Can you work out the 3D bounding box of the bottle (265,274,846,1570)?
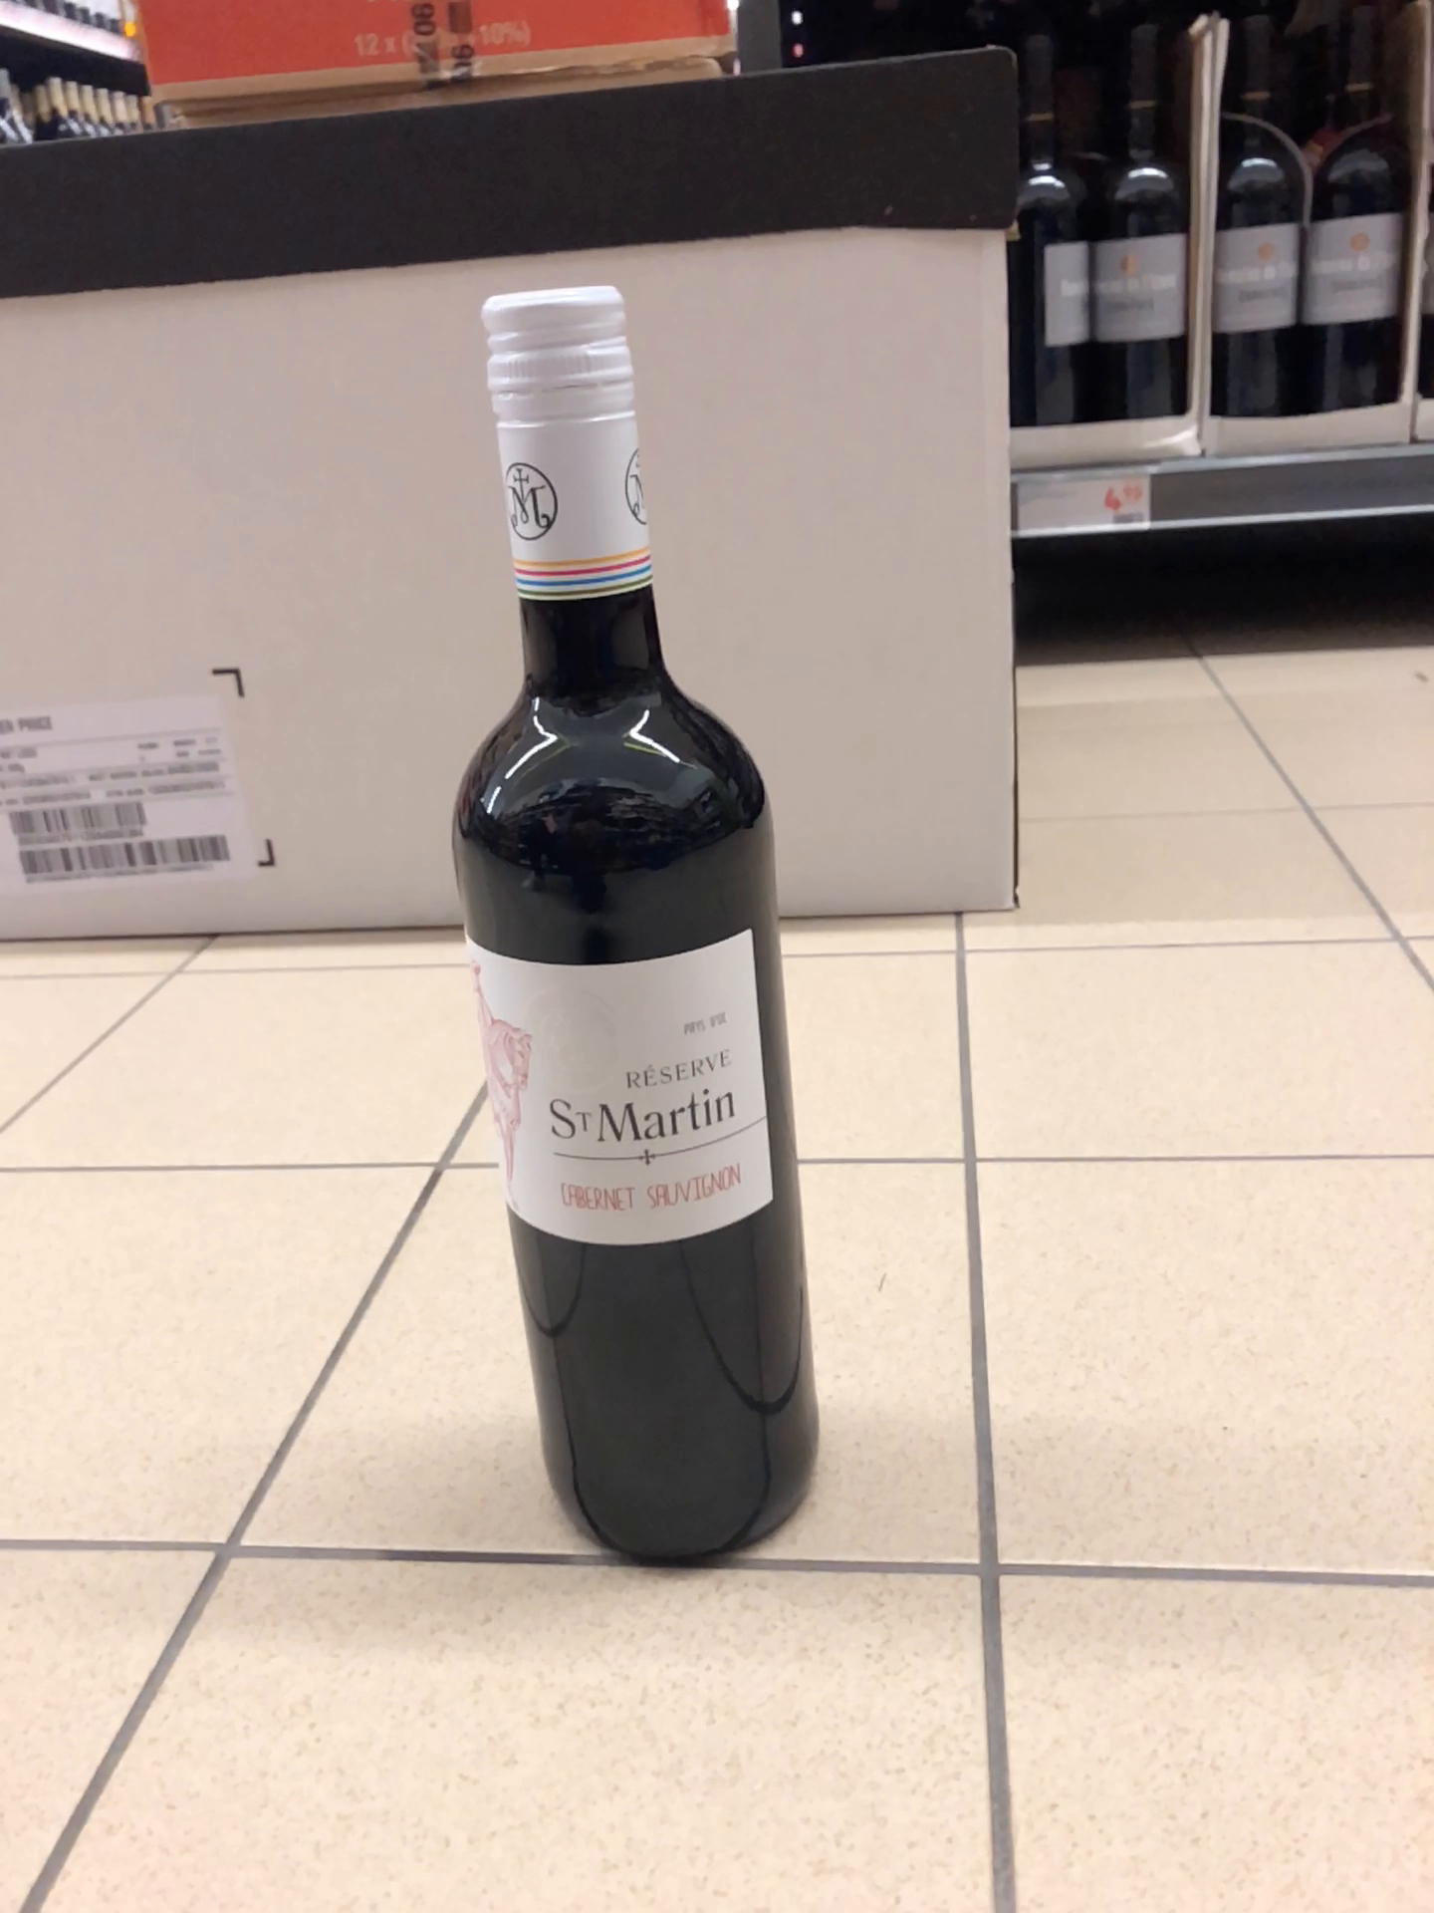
[{"bbox_3d":[-0.023,0.001,0.373,0.090,0.289,0.080,-2,21,7],"label":"bottle"}]
